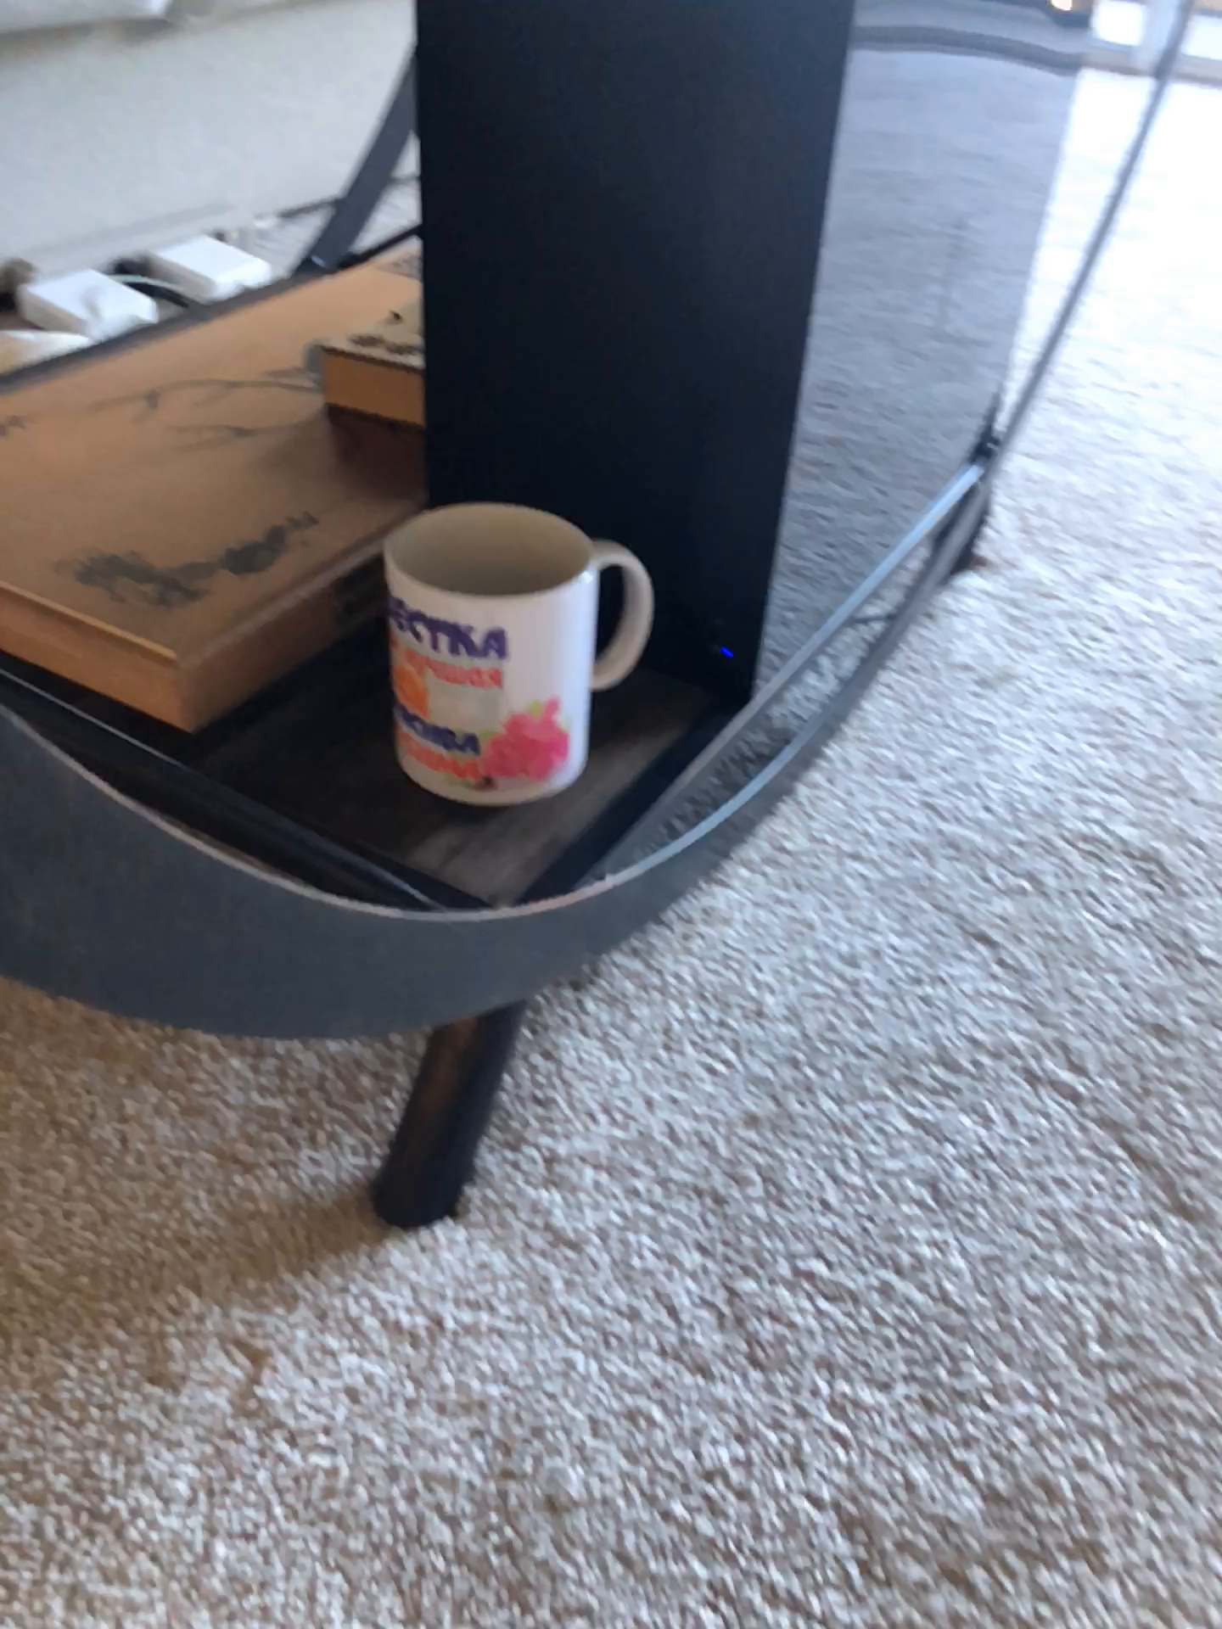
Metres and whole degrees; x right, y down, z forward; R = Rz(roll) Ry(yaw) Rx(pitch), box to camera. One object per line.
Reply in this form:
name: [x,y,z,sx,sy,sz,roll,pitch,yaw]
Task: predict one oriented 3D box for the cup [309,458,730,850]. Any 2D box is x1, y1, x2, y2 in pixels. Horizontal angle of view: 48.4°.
cup: [-0.038,-0.072,0.569,0.140,0.099,0.090,-22,45,-30]
